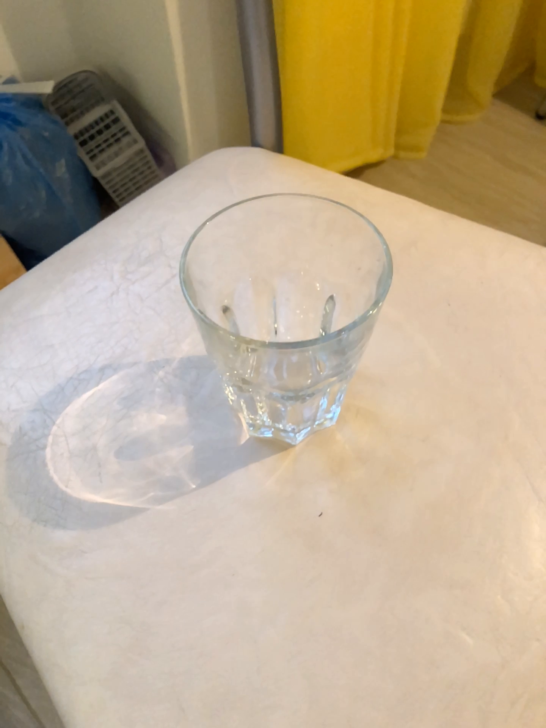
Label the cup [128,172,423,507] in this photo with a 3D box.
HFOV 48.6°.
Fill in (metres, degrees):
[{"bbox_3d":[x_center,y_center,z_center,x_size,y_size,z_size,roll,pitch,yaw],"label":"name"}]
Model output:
[{"bbox_3d":[0.002,-0.009,0.271,0.080,0.099,0.080,0,55,0],"label":"cup"}]
